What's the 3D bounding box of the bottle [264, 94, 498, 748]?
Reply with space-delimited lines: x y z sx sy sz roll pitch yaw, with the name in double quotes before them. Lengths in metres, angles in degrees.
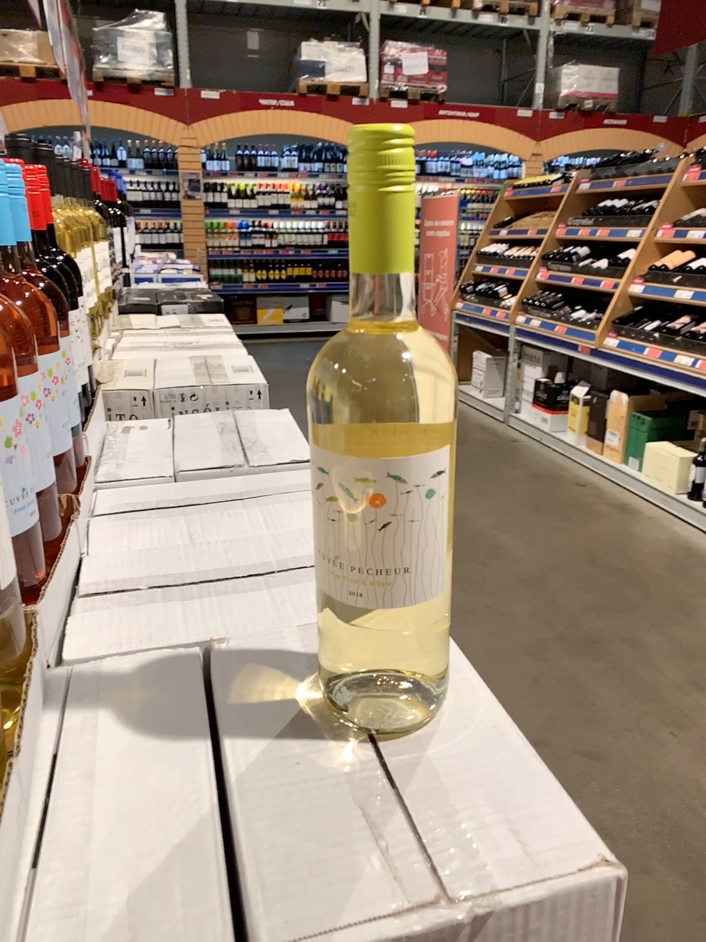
"bottle" 0.017 -0.018 0.369 0.090 0.299 0.090 0 20 0
